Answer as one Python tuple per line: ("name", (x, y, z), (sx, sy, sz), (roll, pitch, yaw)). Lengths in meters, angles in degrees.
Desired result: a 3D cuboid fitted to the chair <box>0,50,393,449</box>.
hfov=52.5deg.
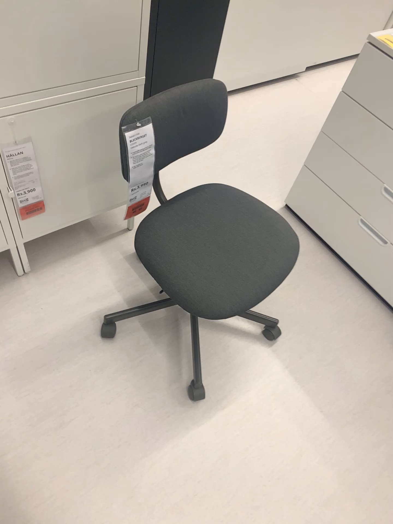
("chair", (0.024, -0.044, 1.210), (0.710, 0.678, 0.722), (33, 54, 12))
